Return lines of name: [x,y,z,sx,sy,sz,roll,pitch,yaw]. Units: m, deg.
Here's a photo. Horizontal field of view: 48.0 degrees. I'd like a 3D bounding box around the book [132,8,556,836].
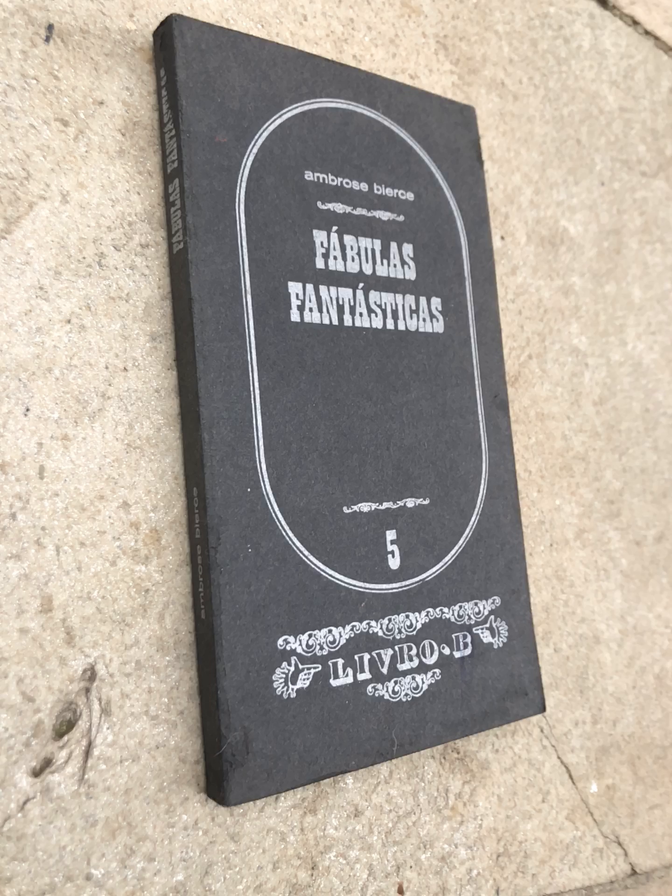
book: [0.006,-0.010,0.193,0.105,0.013,0.176,-2,84,-33]
